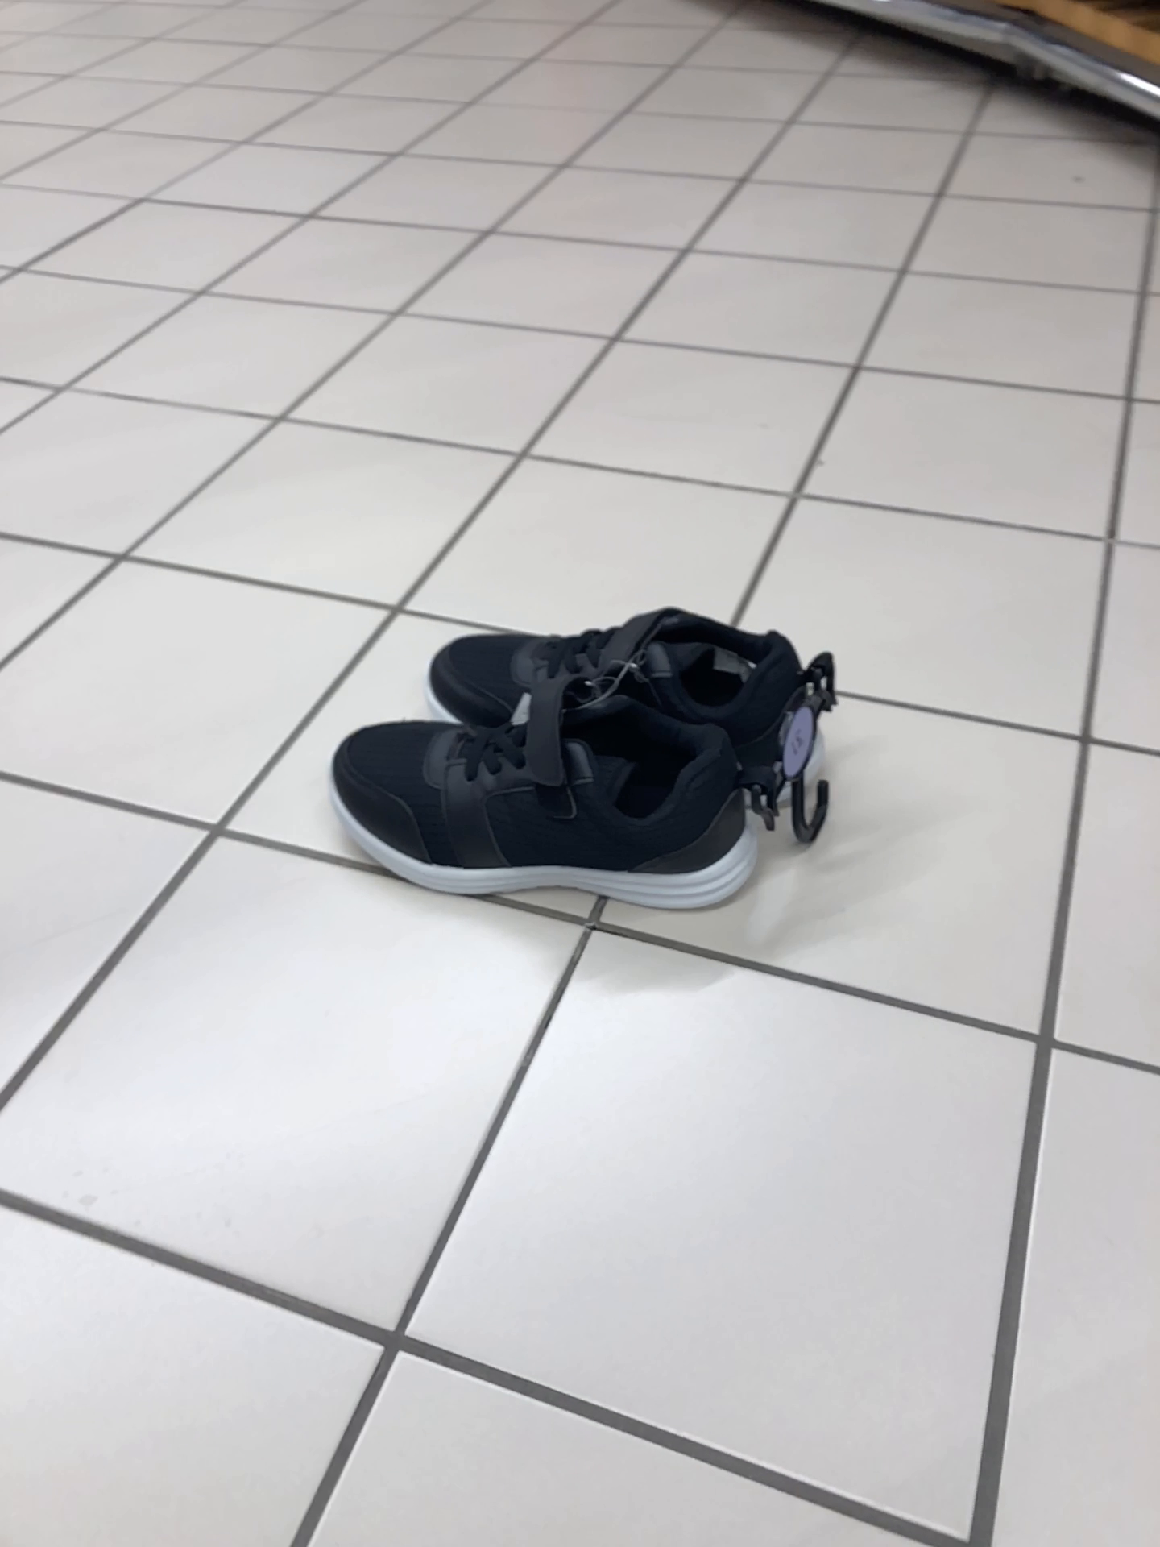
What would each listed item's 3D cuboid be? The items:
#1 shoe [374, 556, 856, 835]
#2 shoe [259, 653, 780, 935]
[{"bbox_3d":[0.020,-0.045,0.659,0.222,0.064,0.098,10,44,14],"label":"shoe"},{"bbox_3d":[-0.023,0.006,0.605,0.222,0.064,0.098,5,43,9],"label":"shoe"}]
